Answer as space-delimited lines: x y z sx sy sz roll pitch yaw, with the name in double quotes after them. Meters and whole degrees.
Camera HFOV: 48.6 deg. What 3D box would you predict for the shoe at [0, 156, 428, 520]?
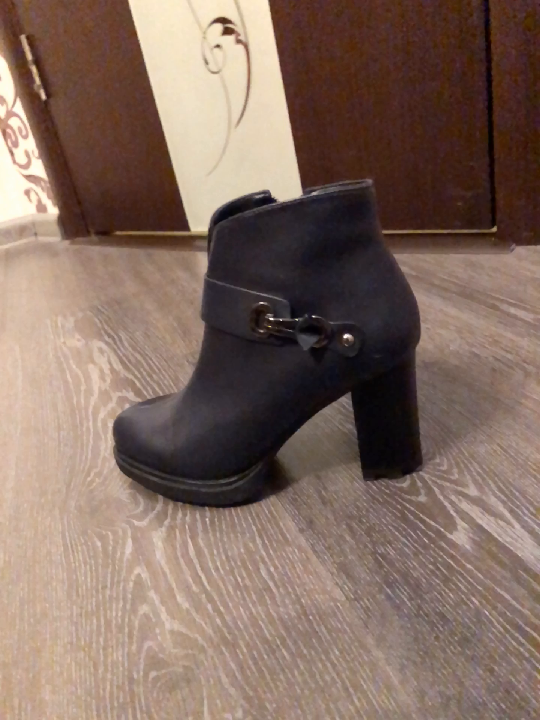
-0.025 -0.009 0.399 0.230 0.189 0.111 -6 27 13 "shoe"
